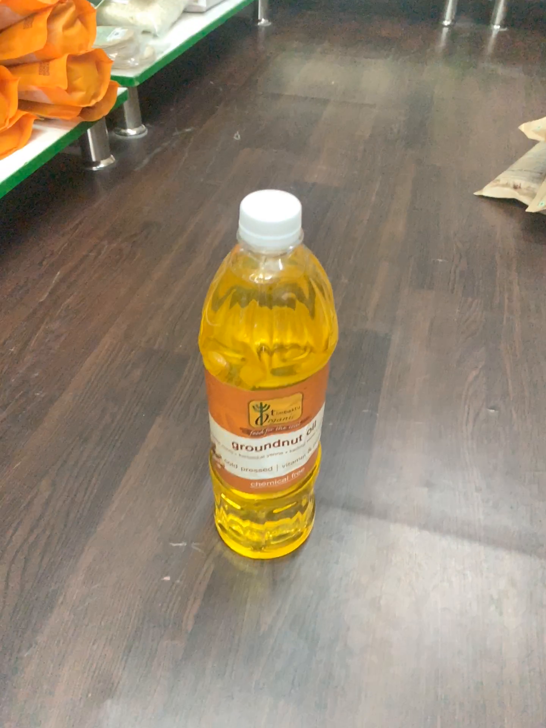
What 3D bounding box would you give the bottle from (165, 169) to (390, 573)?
[{"bbox_3d":[-0.004,0.025,0.336,0.090,0.259,0.070,-4,44,-6],"label":"bottle"}]
